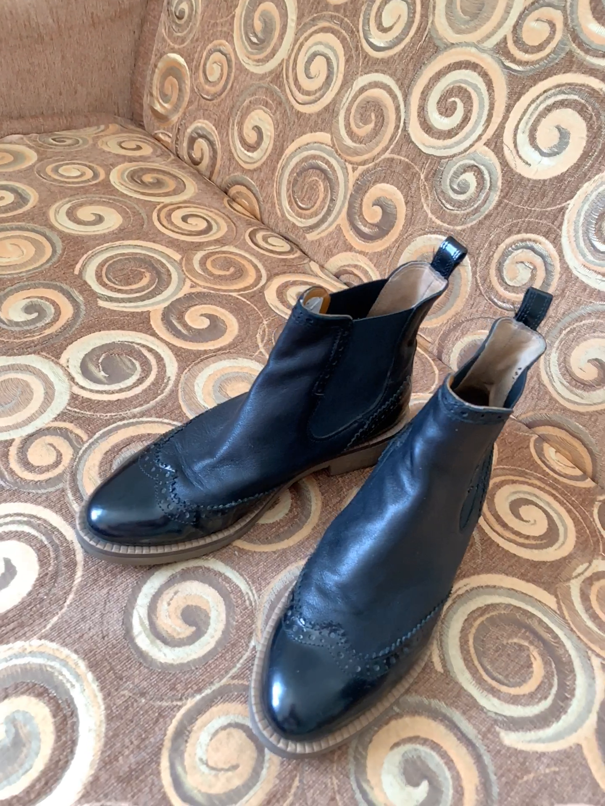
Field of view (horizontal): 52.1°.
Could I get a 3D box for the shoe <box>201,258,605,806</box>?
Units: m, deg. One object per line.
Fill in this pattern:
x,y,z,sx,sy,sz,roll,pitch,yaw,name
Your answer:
0.073,0.059,0.357,0.100,0.139,0.291,29,50,16,shoe

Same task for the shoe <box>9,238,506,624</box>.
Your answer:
-0.023,0.010,0.375,0.240,0.139,0.100,-19,54,-24,shoe
